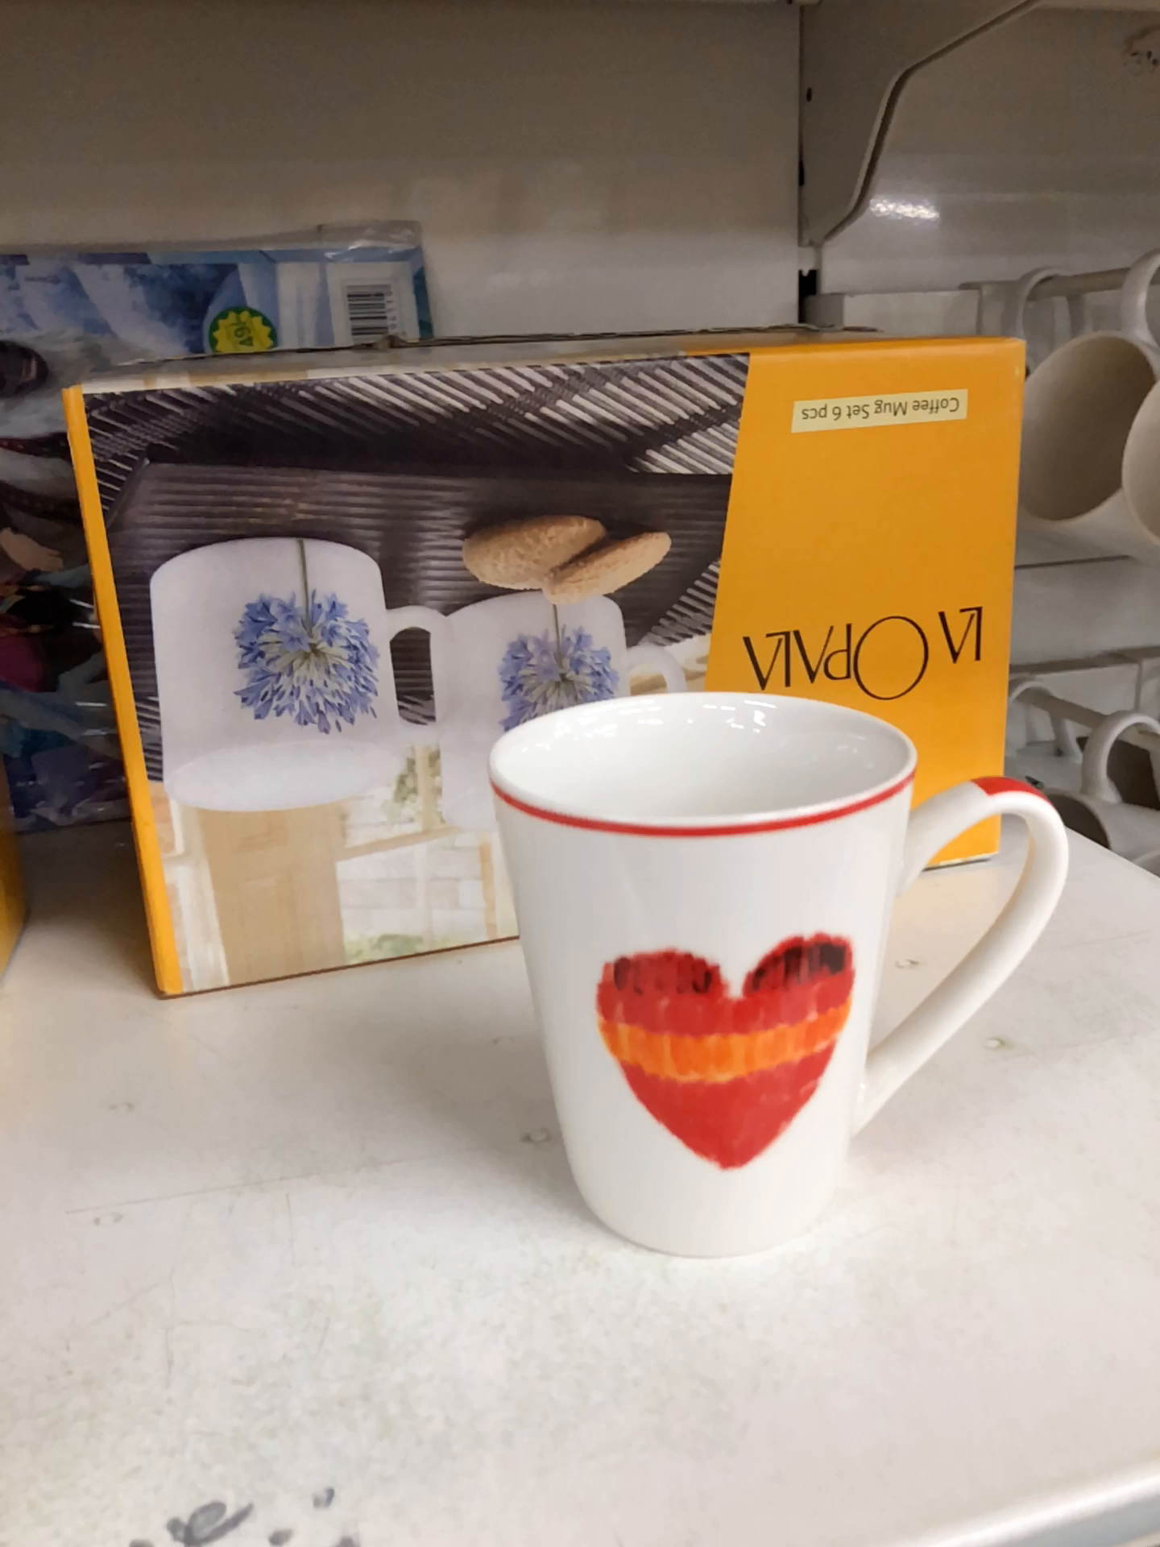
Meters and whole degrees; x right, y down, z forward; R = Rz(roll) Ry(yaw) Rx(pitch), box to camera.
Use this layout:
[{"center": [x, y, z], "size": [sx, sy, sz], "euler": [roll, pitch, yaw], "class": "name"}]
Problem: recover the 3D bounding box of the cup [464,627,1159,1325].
[{"center": [0.044, 0.032, 0.260], "size": [0.120, 0.100, 0.080], "euler": [-6, 18, -10], "class": "cup"}]
